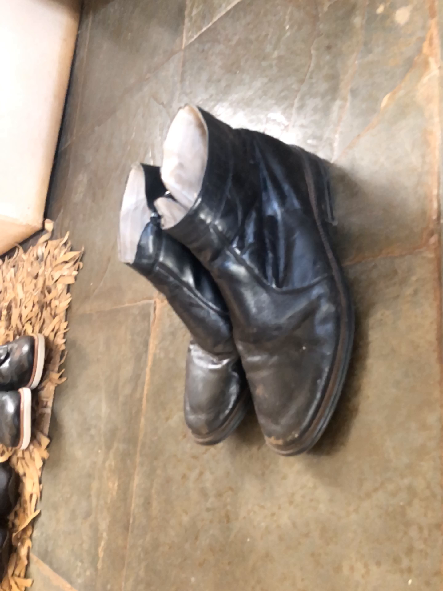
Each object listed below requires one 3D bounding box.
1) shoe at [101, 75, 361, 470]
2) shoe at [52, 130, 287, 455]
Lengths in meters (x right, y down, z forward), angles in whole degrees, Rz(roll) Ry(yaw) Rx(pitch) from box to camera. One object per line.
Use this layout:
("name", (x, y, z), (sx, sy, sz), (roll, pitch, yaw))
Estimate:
("shoe", (0.015, -0.003, 0.378), (0.100, 0.159, 0.250), (-15, 67, 48))
("shoe", (-0.041, 0.010, 0.450), (0.100, 0.159, 0.250), (-7, 73, 50))
